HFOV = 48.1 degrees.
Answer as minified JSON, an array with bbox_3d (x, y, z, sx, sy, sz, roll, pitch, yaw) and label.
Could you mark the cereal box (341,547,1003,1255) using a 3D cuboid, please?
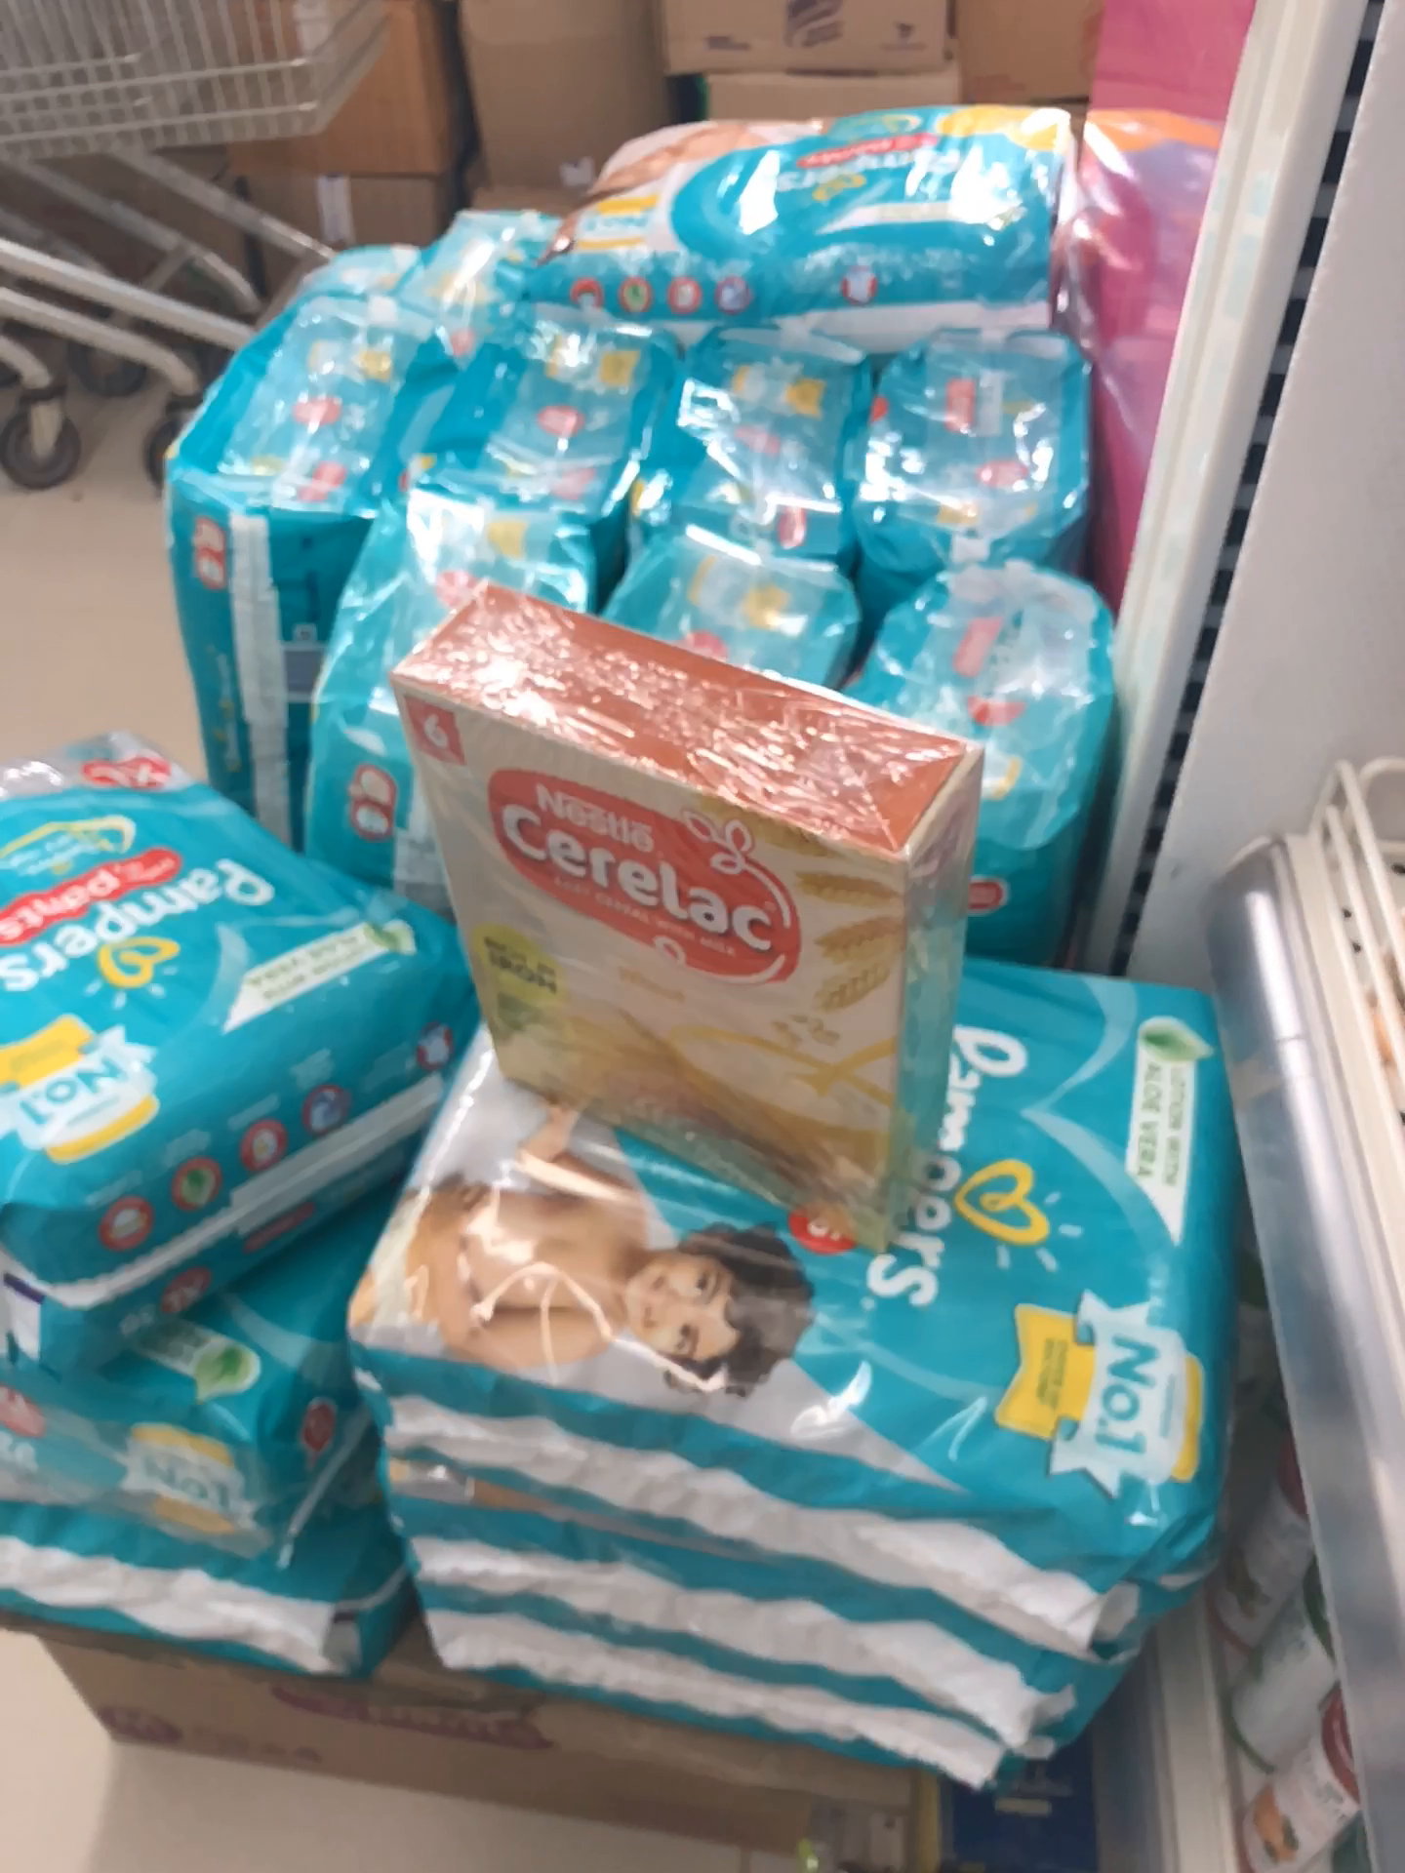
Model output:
[{"bbox_3d":[-0.005,-0.004,0.457,0.160,0.179,0.050,22,56,21],"label":"cereal box"}]
